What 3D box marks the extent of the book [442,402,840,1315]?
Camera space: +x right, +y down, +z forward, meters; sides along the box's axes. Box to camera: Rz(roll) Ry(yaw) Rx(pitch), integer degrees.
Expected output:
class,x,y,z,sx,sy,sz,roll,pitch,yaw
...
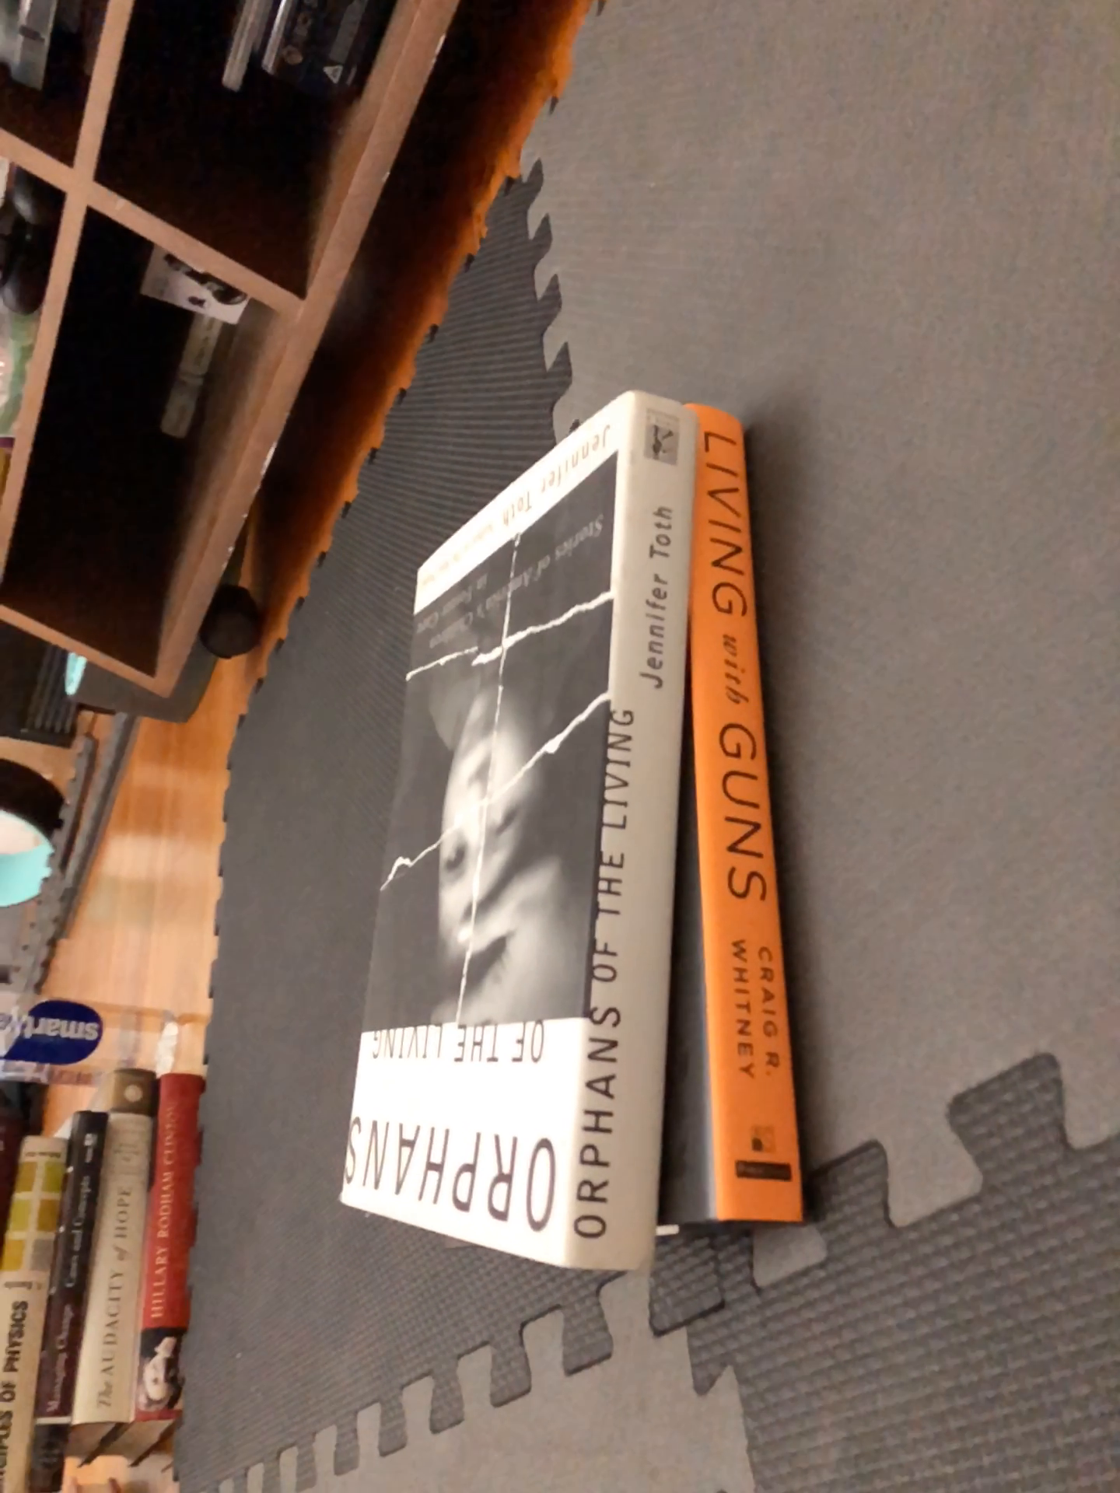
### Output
class,x,y,z,sx,sy,sz,roll,pitch,yaw
book,0.013,0.041,0.391,0.160,0.030,0.251,-40,43,53

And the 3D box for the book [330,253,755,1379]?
class,x,y,z,sx,sy,sz,roll,pitch,yaw
book,-0.011,0.021,0.381,0.181,0.030,0.280,-26,55,60
